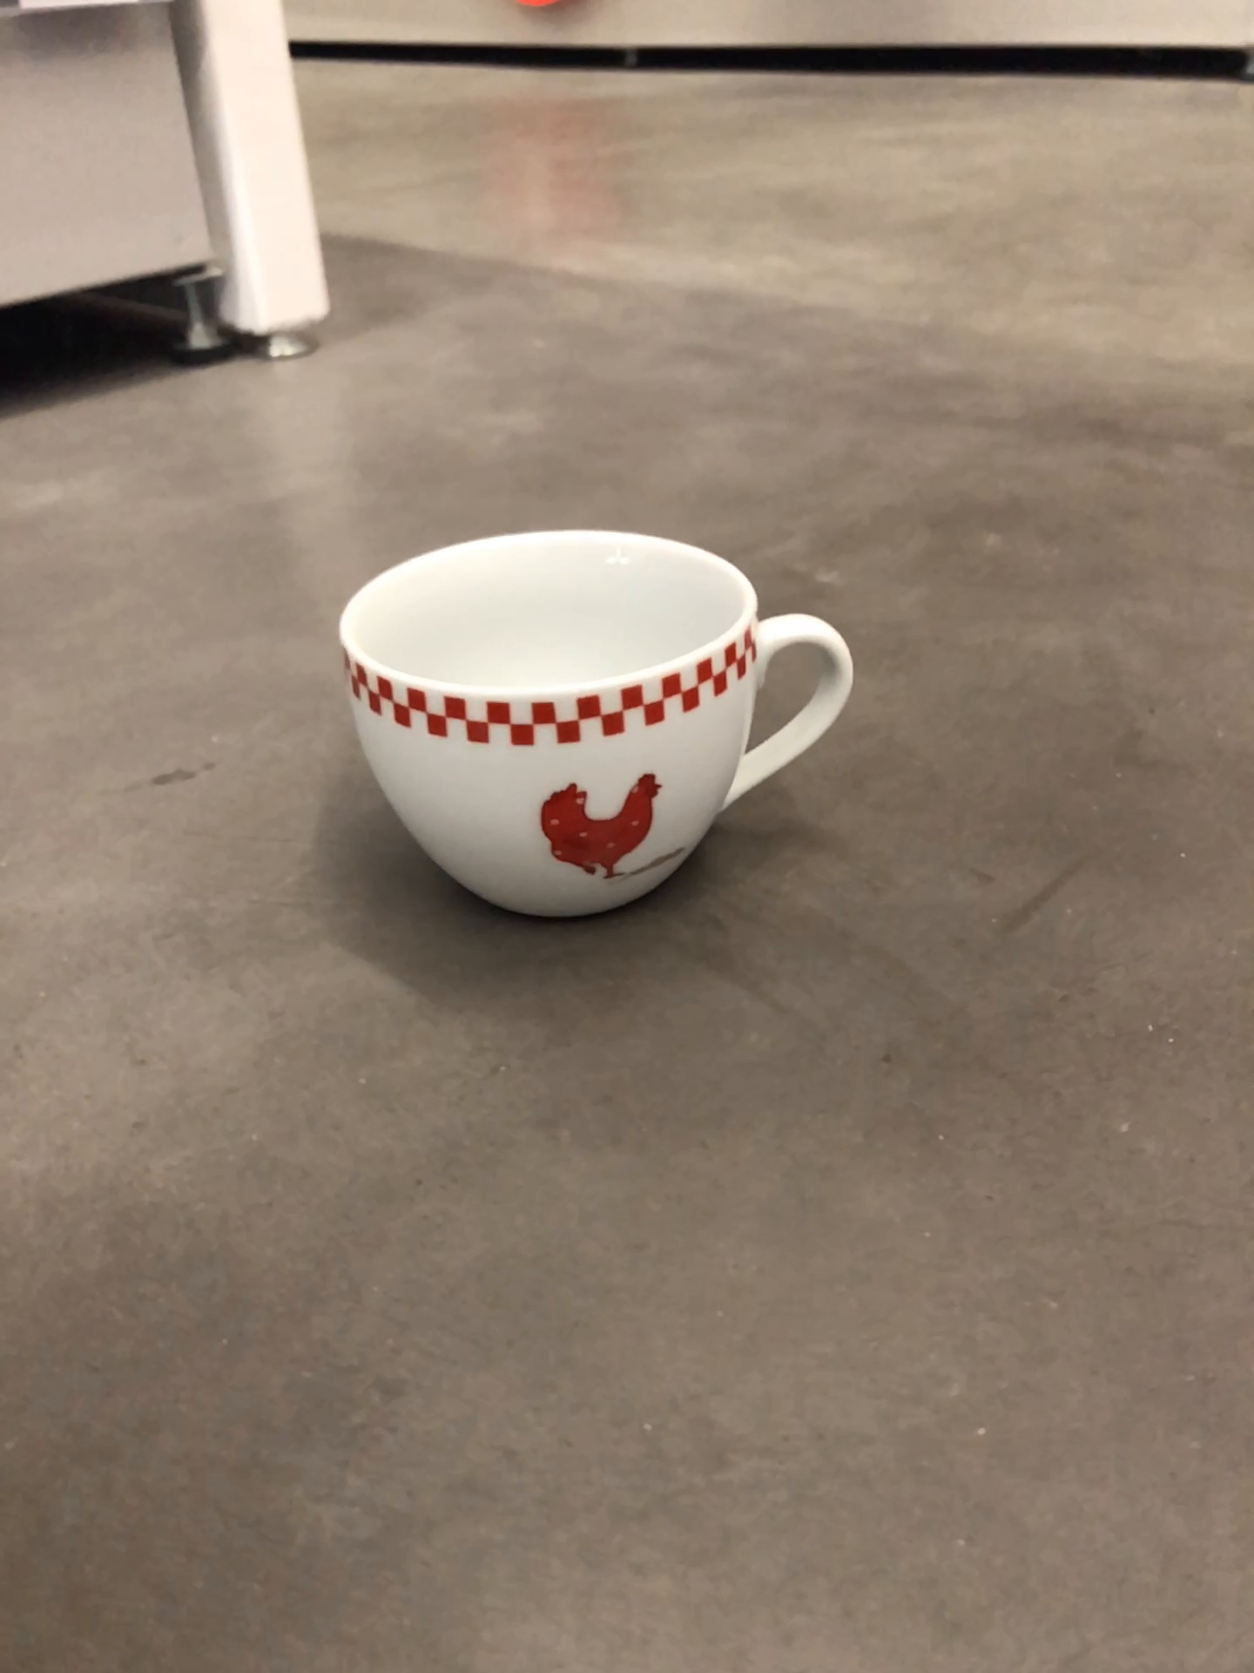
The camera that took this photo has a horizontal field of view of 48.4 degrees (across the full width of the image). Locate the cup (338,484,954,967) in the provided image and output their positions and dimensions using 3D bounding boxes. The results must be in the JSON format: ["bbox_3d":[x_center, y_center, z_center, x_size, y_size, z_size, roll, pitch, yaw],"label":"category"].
[{"bbox_3d":[-0.001,-0.030,0.301,0.111,0.058,0.089,-9,30,-9],"label":"cup"}]
